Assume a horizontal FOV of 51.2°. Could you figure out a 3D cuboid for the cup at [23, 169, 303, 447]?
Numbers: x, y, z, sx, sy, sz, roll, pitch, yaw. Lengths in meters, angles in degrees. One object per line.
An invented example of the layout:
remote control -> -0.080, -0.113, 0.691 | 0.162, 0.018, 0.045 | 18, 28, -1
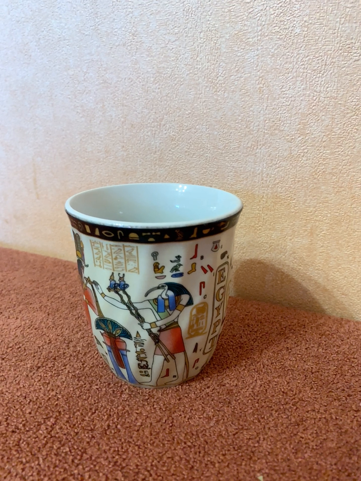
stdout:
cup -> -0.012, 0.017, 0.204 | 0.086, 0.087, 0.116 | -20, 27, -41
